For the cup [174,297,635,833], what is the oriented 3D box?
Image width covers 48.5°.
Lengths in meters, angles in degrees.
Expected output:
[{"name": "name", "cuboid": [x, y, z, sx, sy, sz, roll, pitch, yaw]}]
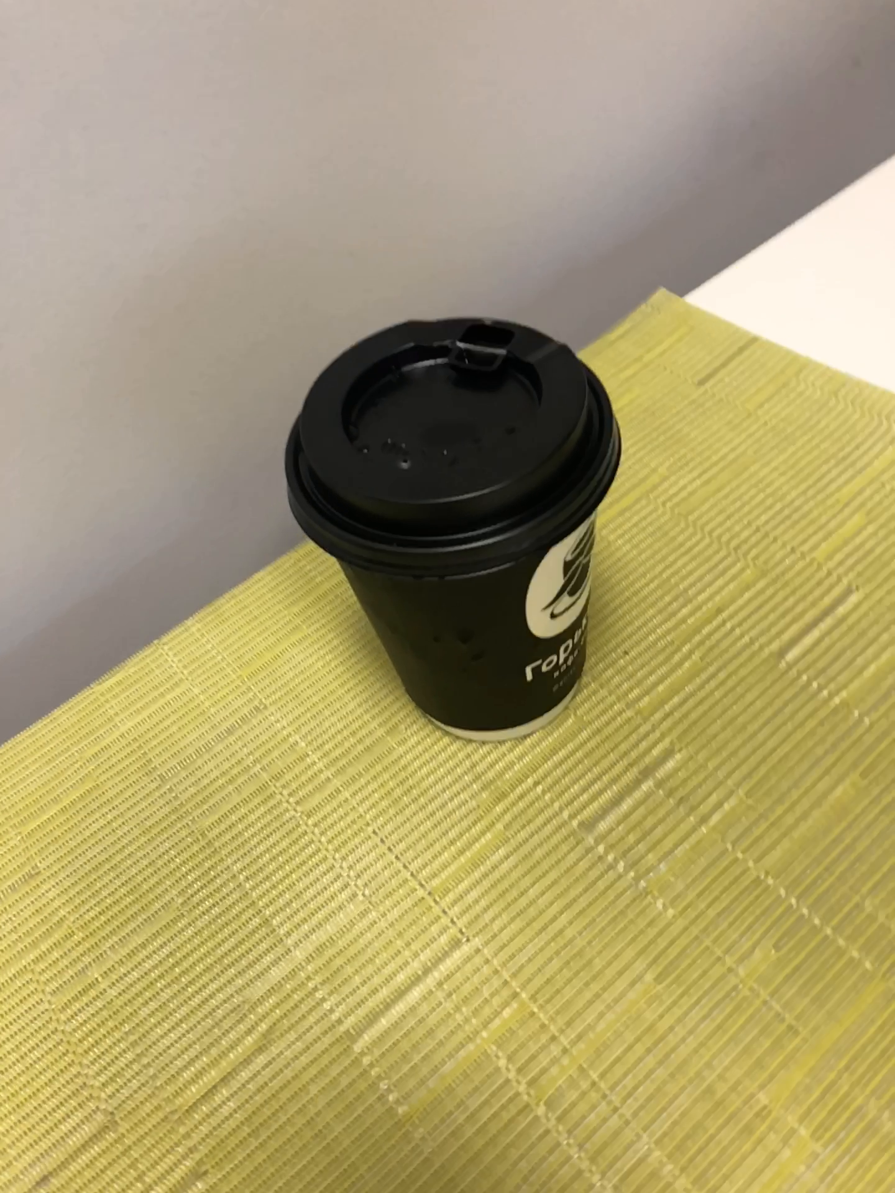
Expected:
[{"name": "cup", "cuboid": [-0.003, -0.009, 0.317, 0.090, 0.119, 0.092, -6, 49, 7]}]
